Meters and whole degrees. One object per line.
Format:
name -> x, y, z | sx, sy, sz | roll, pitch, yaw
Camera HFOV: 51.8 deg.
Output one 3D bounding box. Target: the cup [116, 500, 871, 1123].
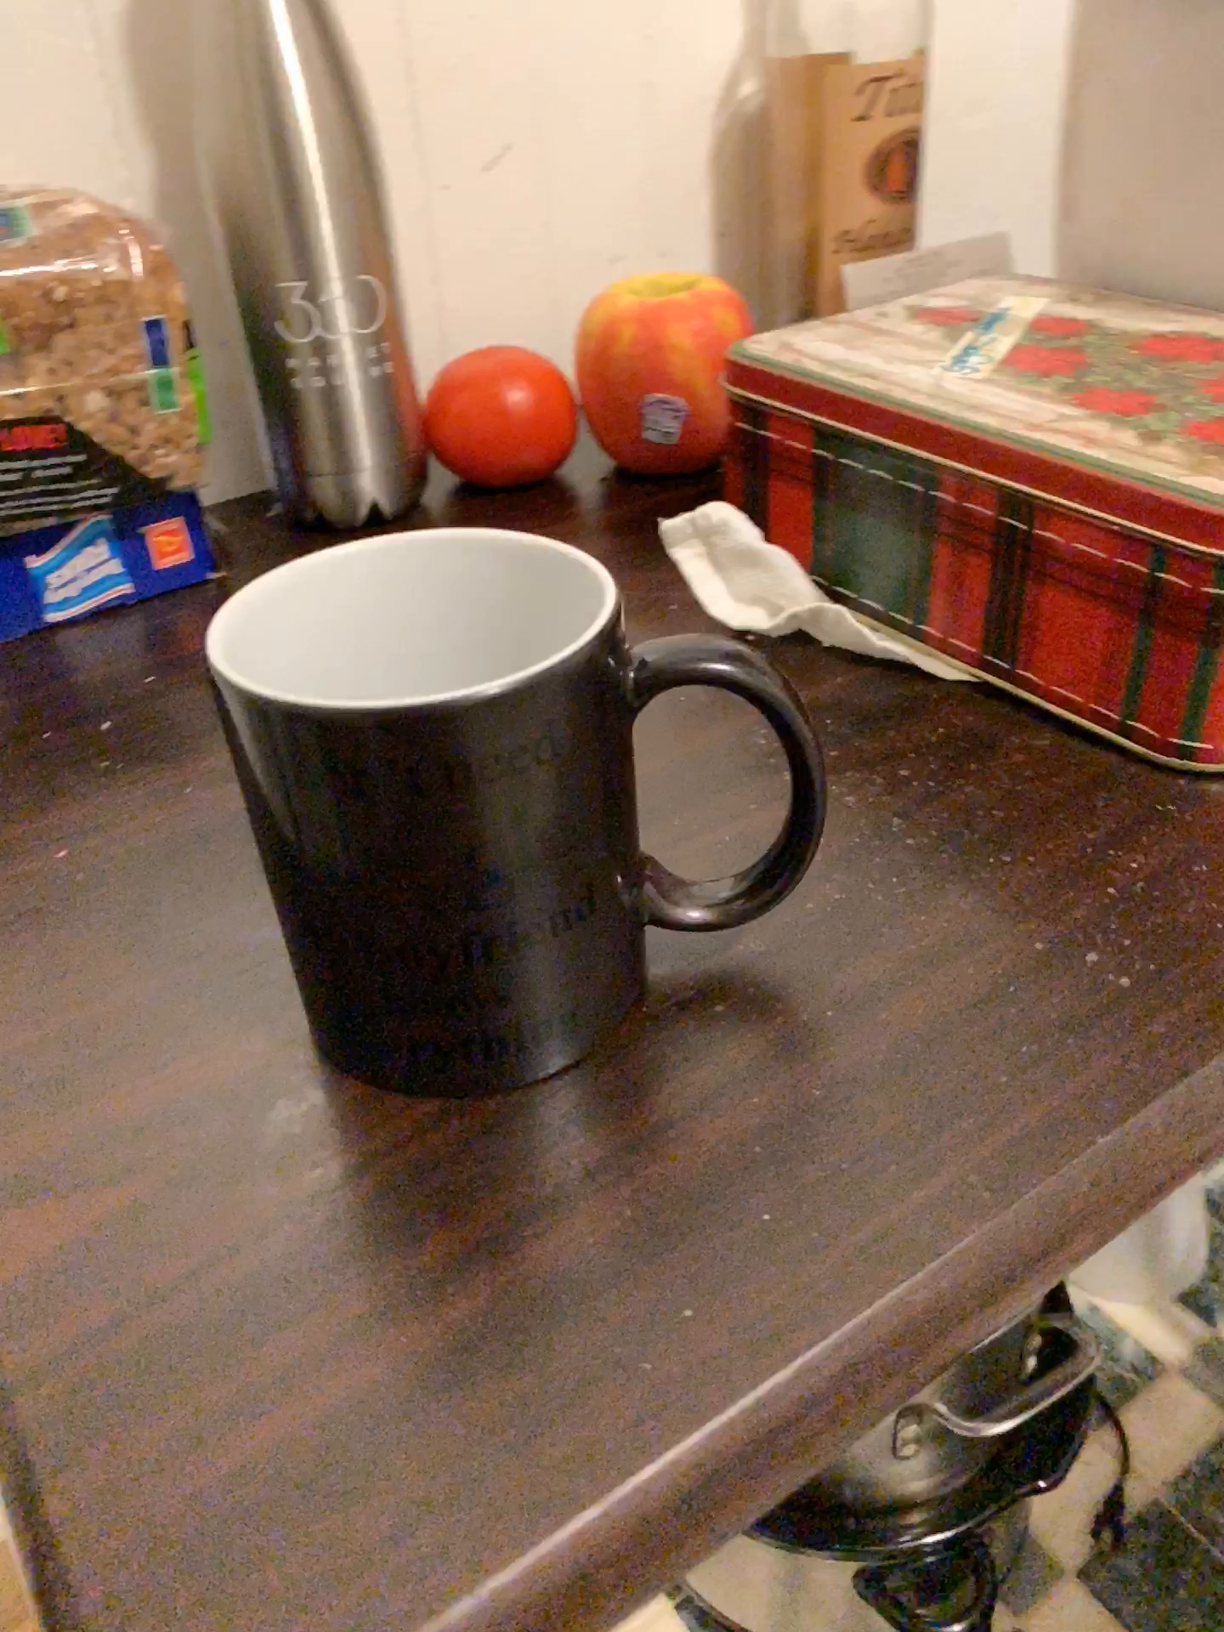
cup -> -0.019, -0.002, 0.278 | 0.130, 0.099, 0.081 | -4, 34, 1
